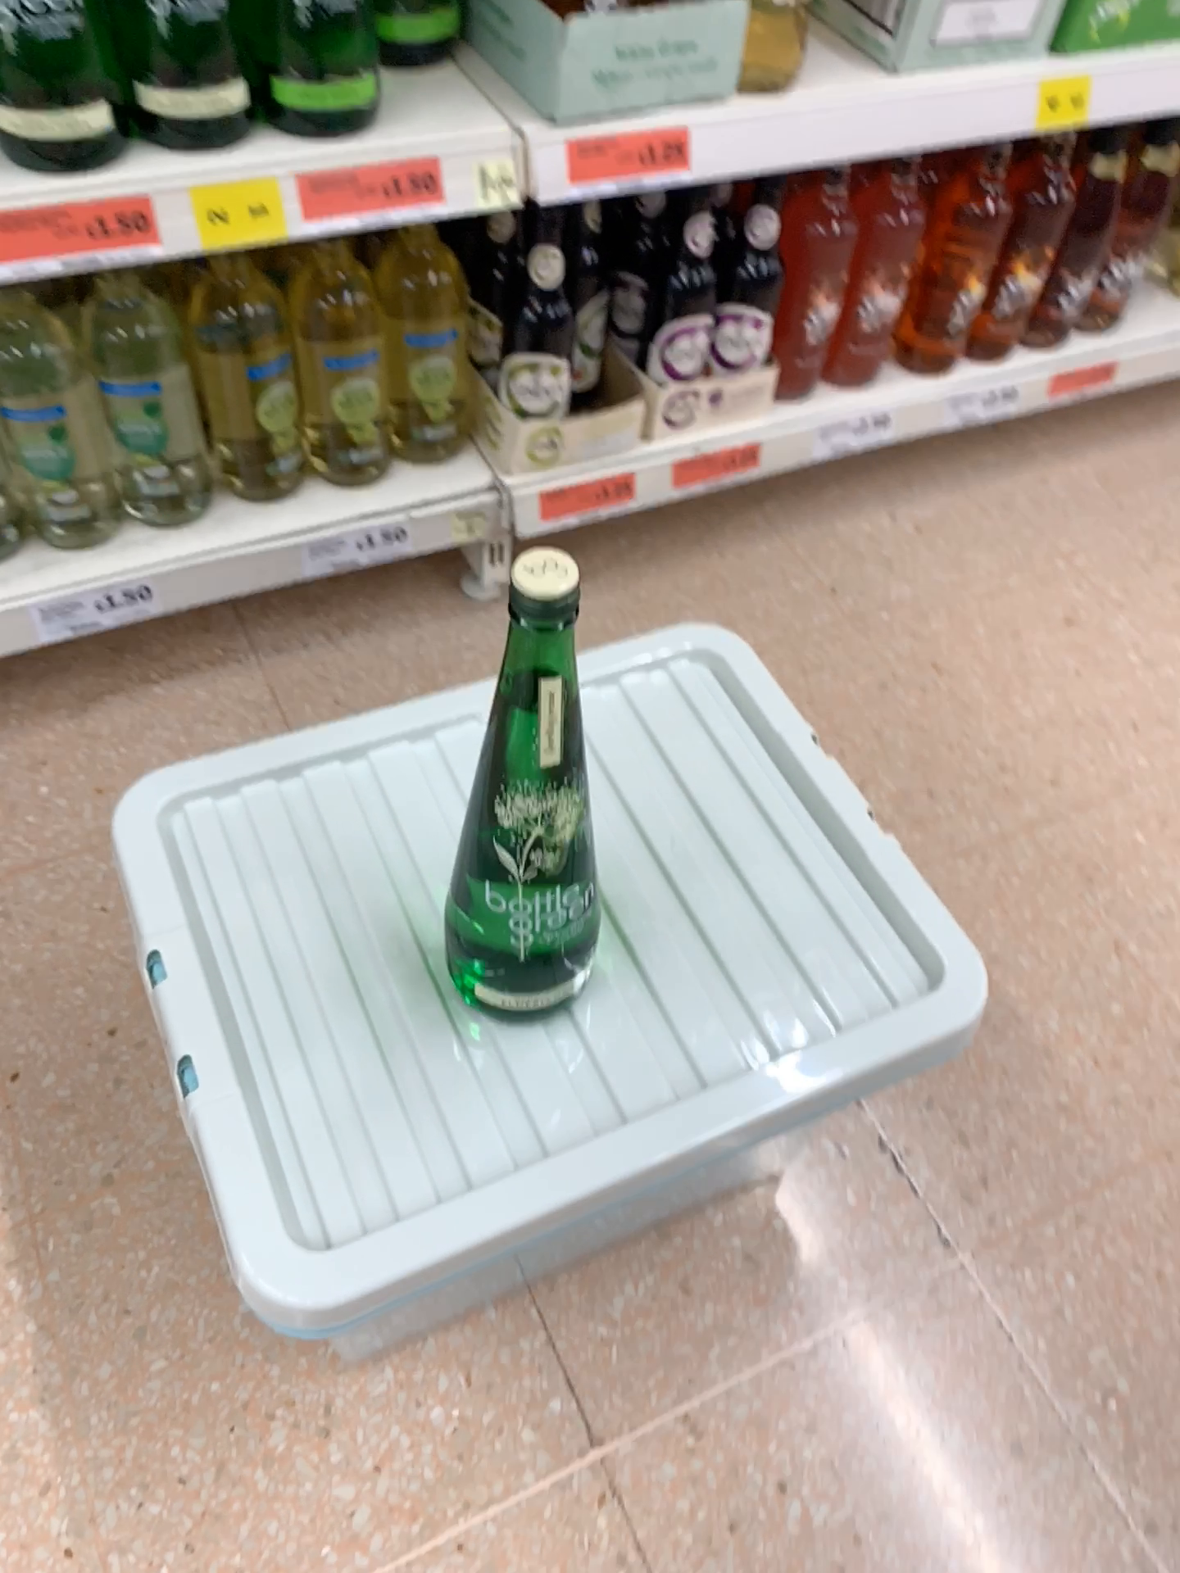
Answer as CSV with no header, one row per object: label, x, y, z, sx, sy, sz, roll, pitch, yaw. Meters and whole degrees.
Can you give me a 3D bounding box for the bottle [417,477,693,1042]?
bottle,-0.028,0.005,0.590,0.084,0.297,0.094,-12,54,-15
